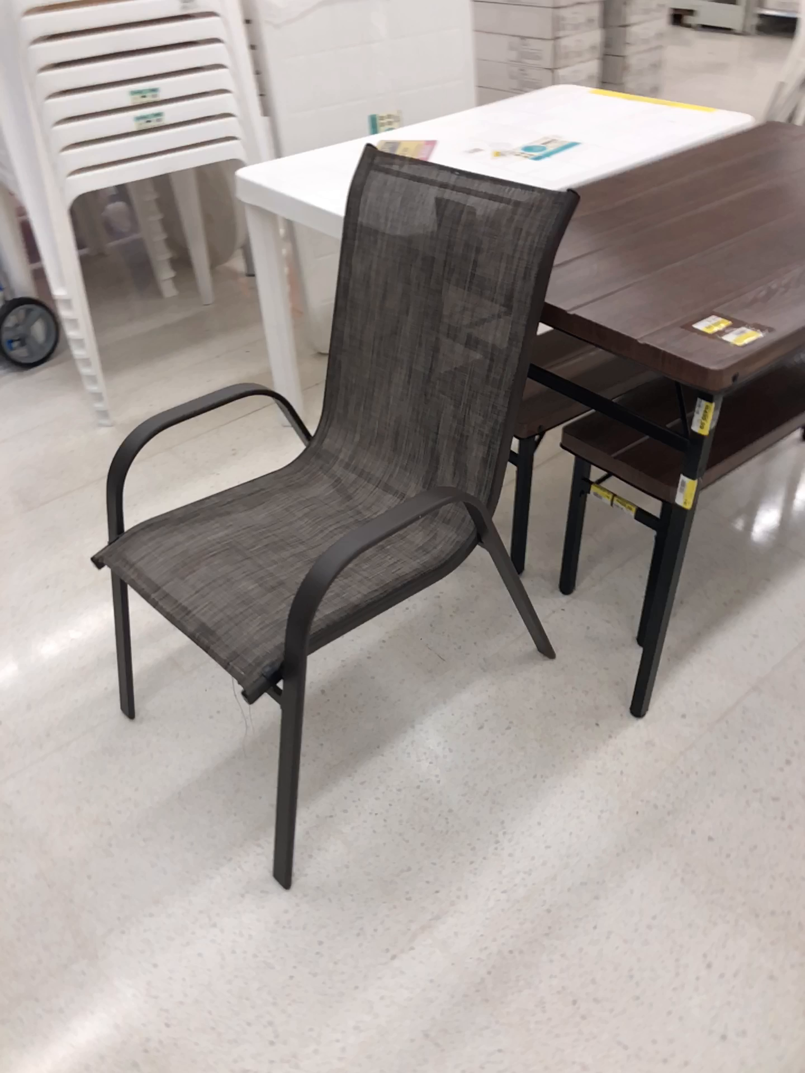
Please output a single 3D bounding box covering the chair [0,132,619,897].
[{"bbox_3d":[-0.149,-0.083,1.434,0.712,0.853,0.603,-31,45,-31],"label":"chair"}]
